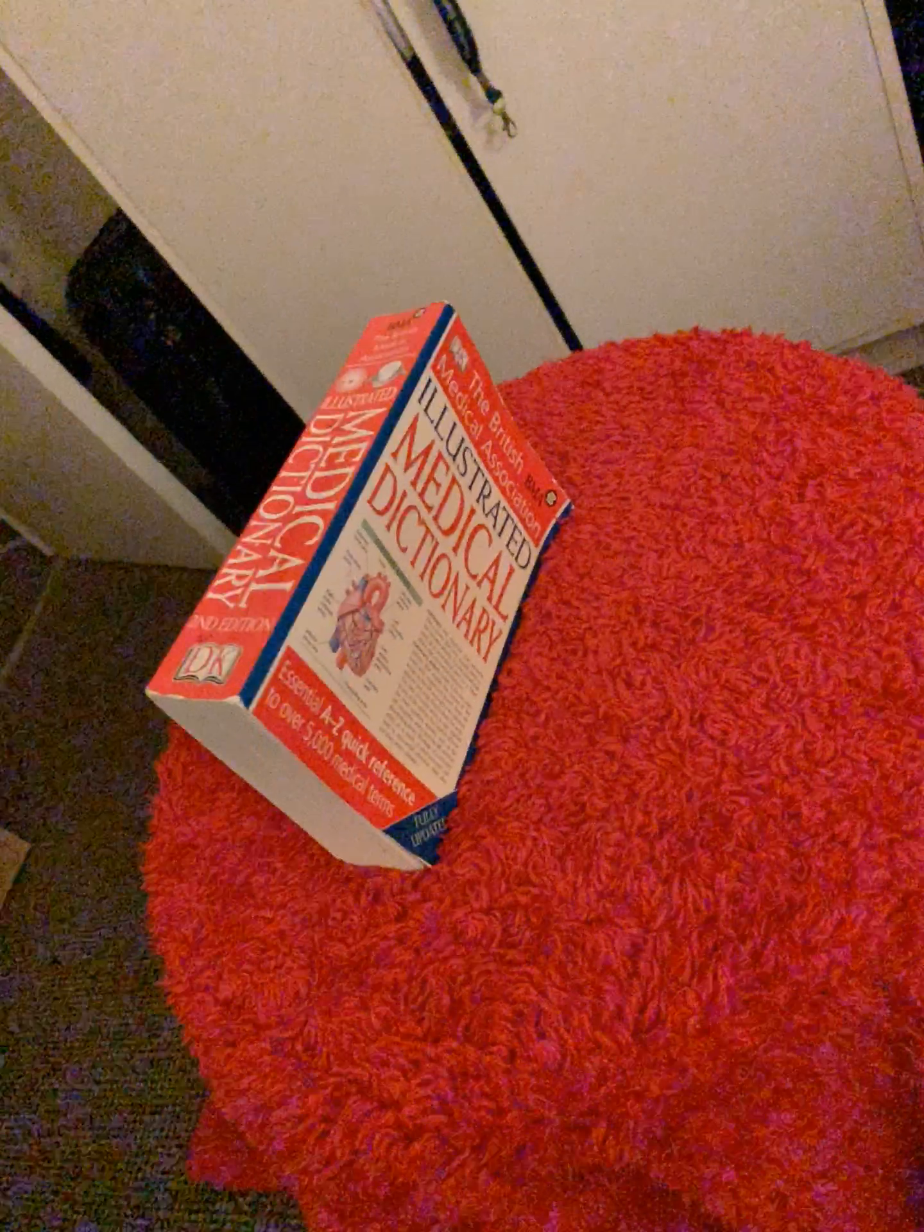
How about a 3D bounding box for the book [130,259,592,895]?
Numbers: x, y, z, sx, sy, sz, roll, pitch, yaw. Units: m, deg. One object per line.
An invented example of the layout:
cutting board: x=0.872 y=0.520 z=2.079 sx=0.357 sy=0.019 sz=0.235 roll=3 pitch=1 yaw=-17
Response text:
book: x=-0.021 y=-0.020 z=0.391 sx=0.050 sy=0.129 sz=0.221 roll=0 pitch=52 yaw=33
